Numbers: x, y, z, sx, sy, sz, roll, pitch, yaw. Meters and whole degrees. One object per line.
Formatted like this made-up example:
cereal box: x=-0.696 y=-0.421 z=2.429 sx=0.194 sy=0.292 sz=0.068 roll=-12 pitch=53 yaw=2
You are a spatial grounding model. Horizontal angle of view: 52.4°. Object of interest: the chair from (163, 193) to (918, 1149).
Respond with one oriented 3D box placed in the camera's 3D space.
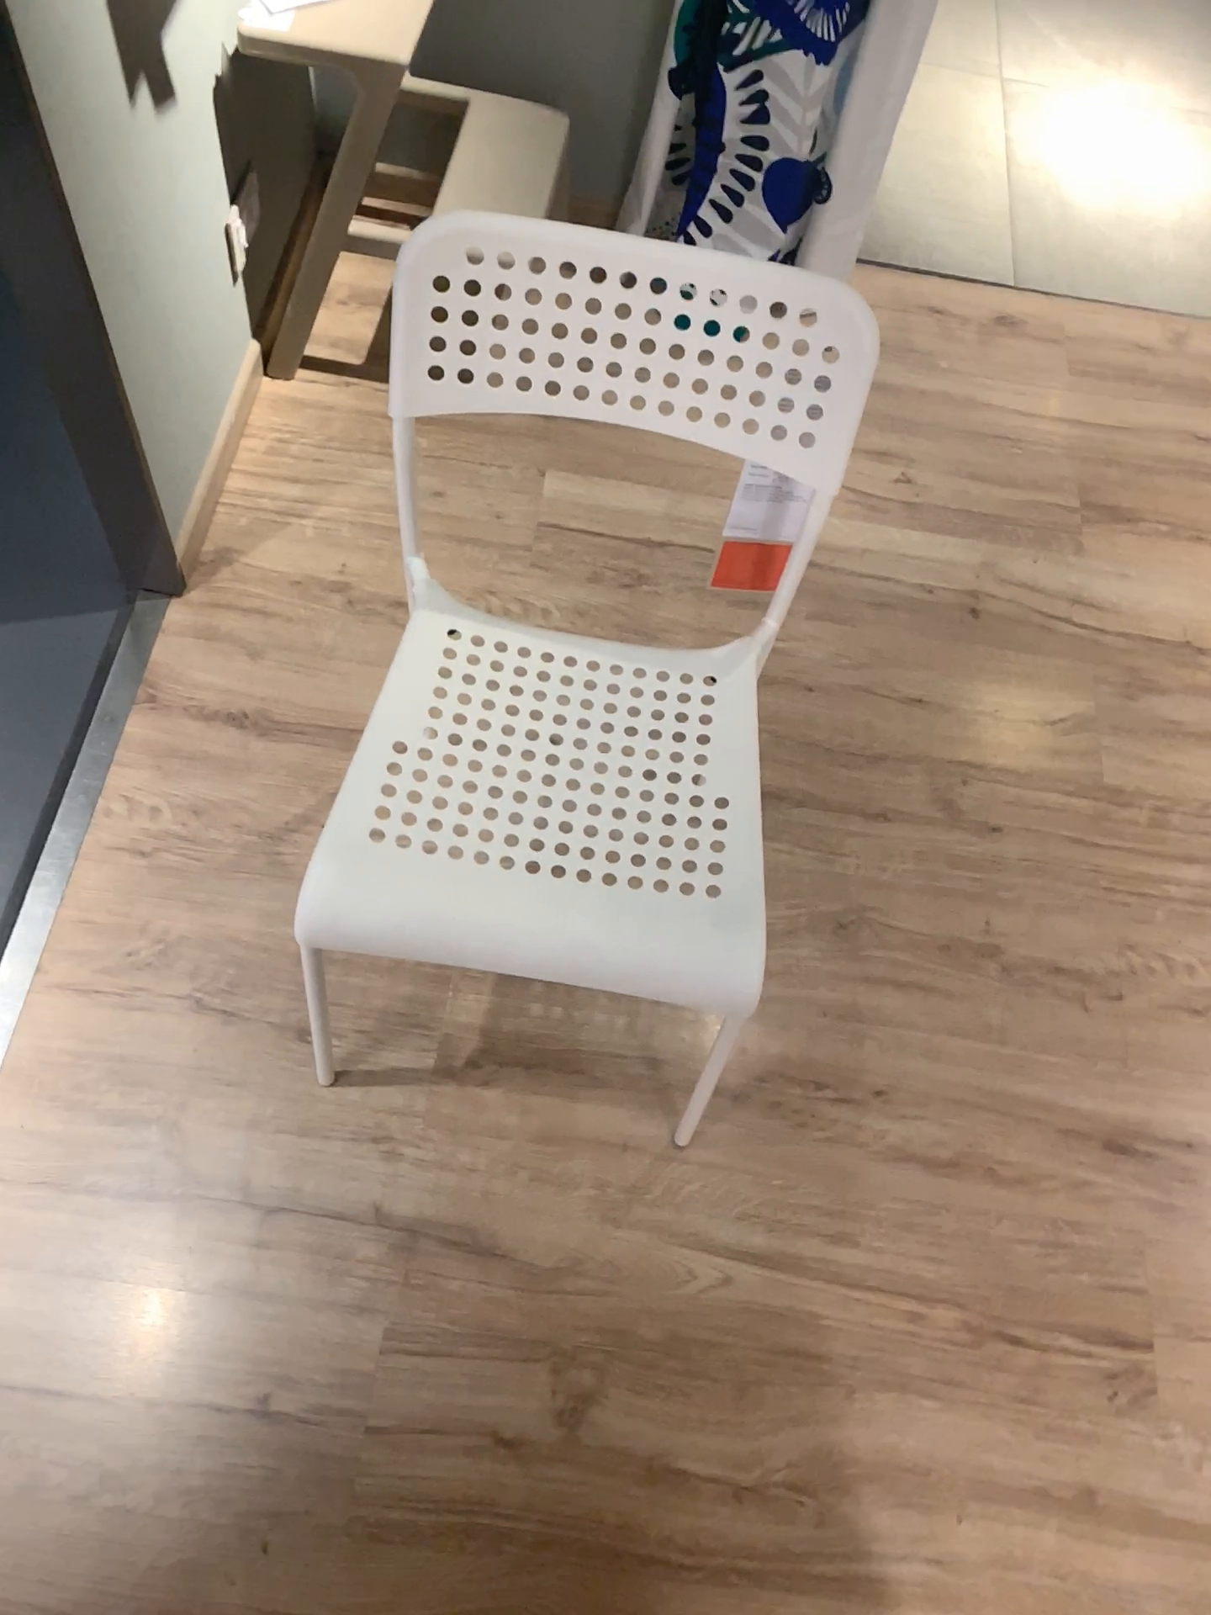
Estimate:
chair: x=-0.033 y=-0.064 z=1.088 sx=0.430 sy=0.609 sz=0.531 roll=9 pitch=61 yaw=-2
